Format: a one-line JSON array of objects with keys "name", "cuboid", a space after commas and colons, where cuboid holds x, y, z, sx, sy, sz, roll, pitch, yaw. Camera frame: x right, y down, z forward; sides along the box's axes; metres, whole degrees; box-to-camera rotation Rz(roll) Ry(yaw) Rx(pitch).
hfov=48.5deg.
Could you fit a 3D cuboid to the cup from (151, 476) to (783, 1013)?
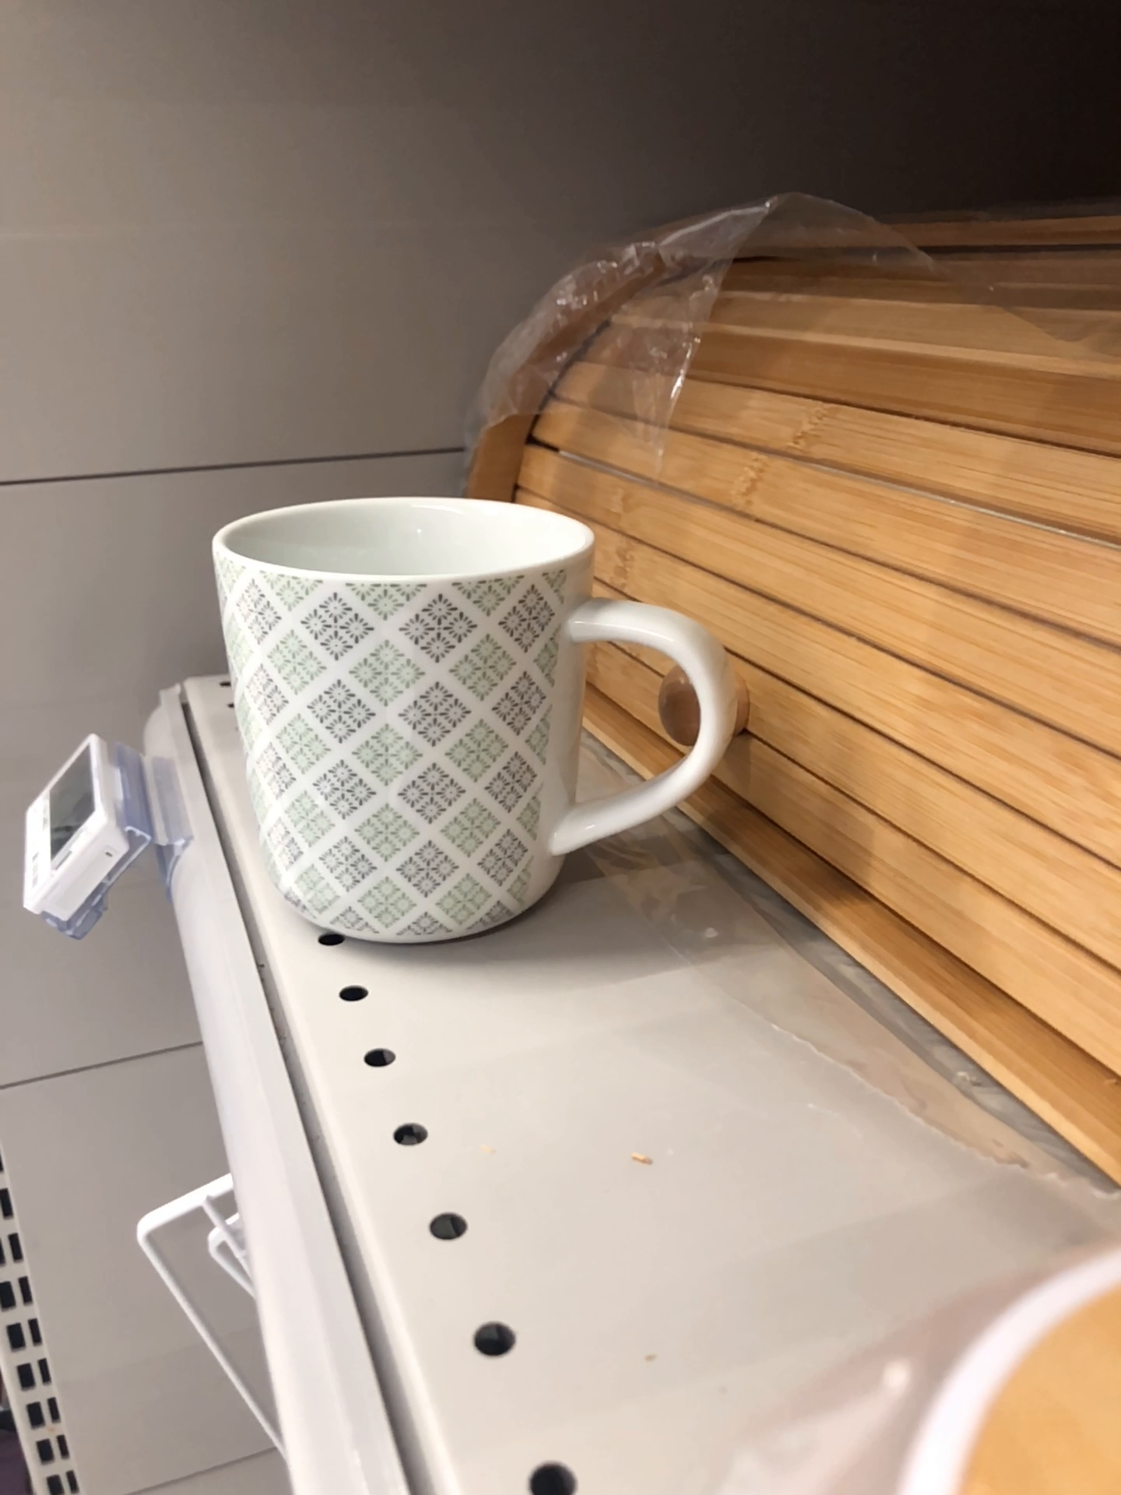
[{"name": "cup", "cuboid": [-0.016, -0.009, 0.296, 0.118, 0.090, 0.086, 7, 23, 16]}]
